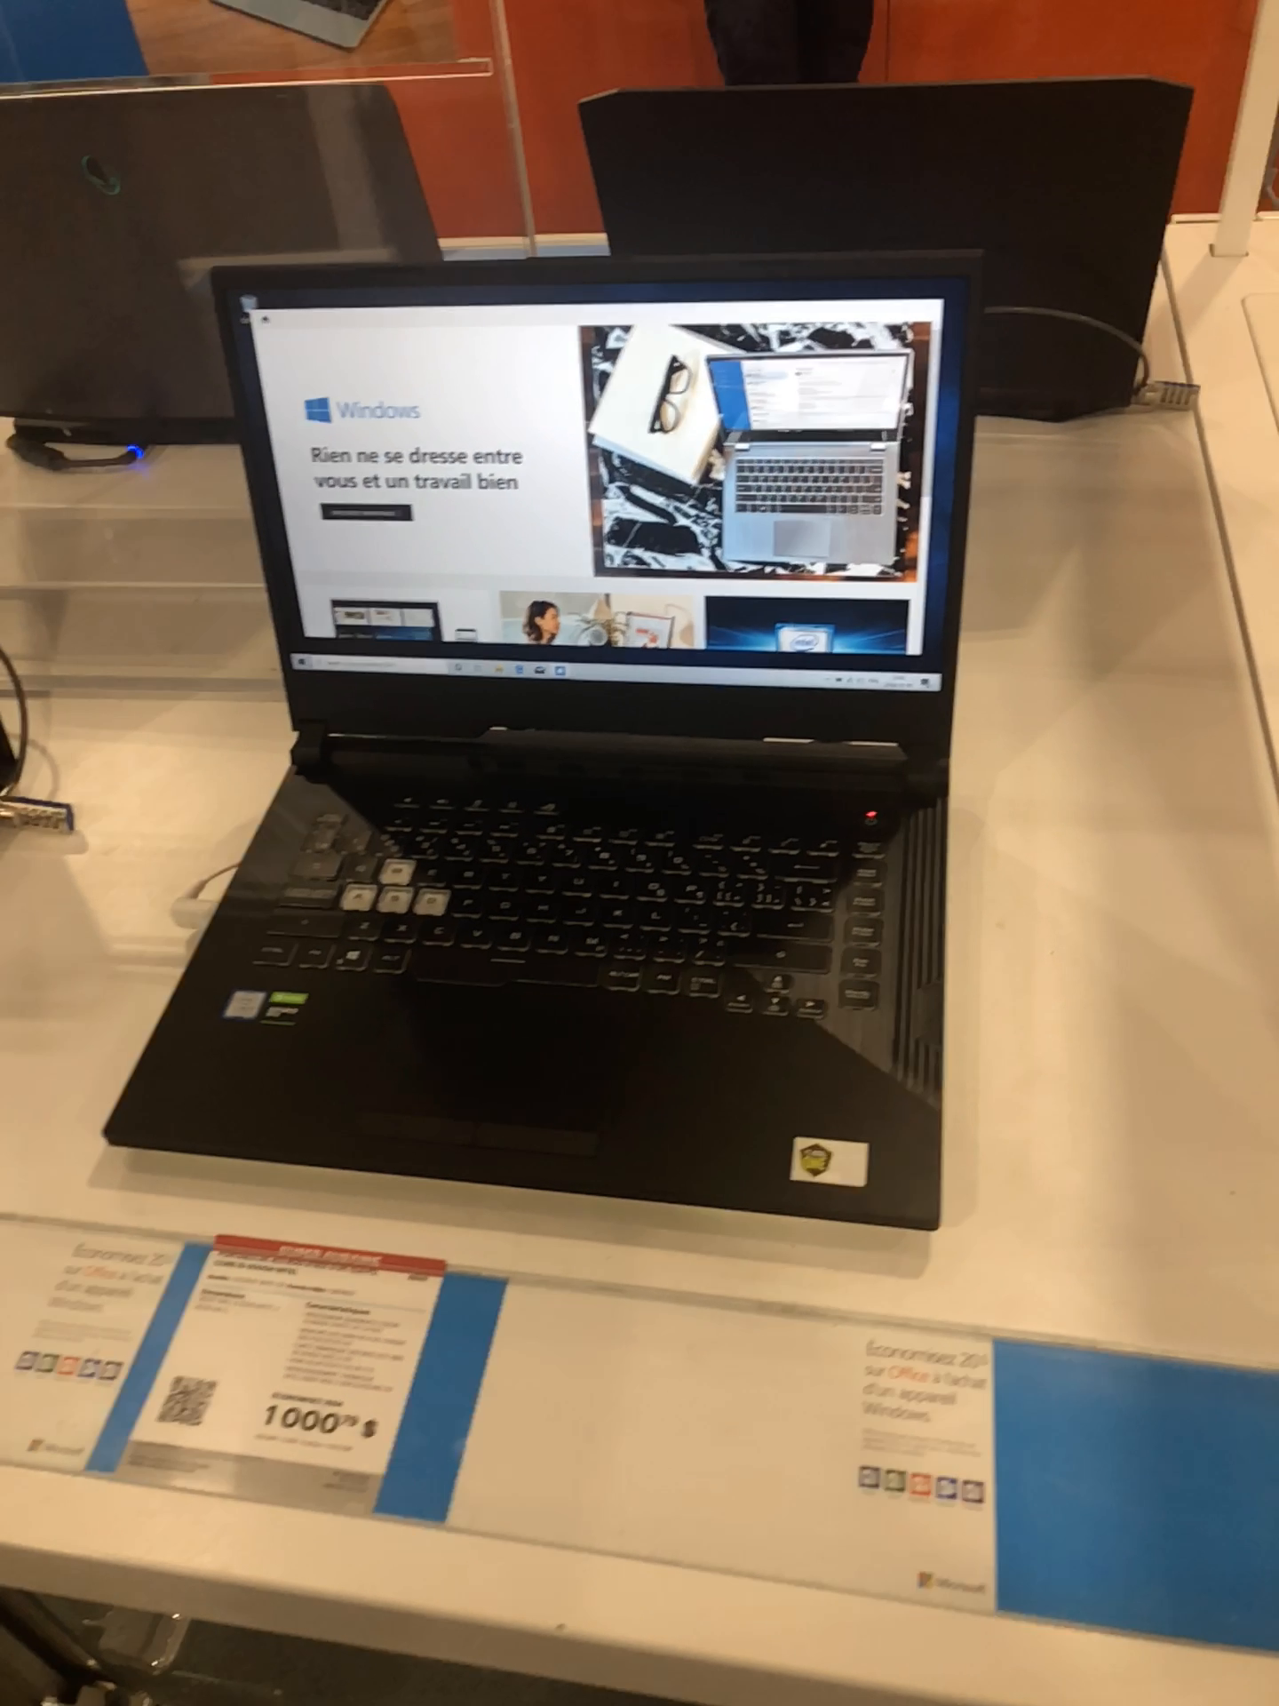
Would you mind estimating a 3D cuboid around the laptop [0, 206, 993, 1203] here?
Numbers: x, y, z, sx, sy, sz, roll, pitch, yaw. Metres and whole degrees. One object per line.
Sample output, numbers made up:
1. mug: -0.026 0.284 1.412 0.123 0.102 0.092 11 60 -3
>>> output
1. laptop: -0.039 -0.078 0.633 0.363 0.236 0.346 2 48 11
